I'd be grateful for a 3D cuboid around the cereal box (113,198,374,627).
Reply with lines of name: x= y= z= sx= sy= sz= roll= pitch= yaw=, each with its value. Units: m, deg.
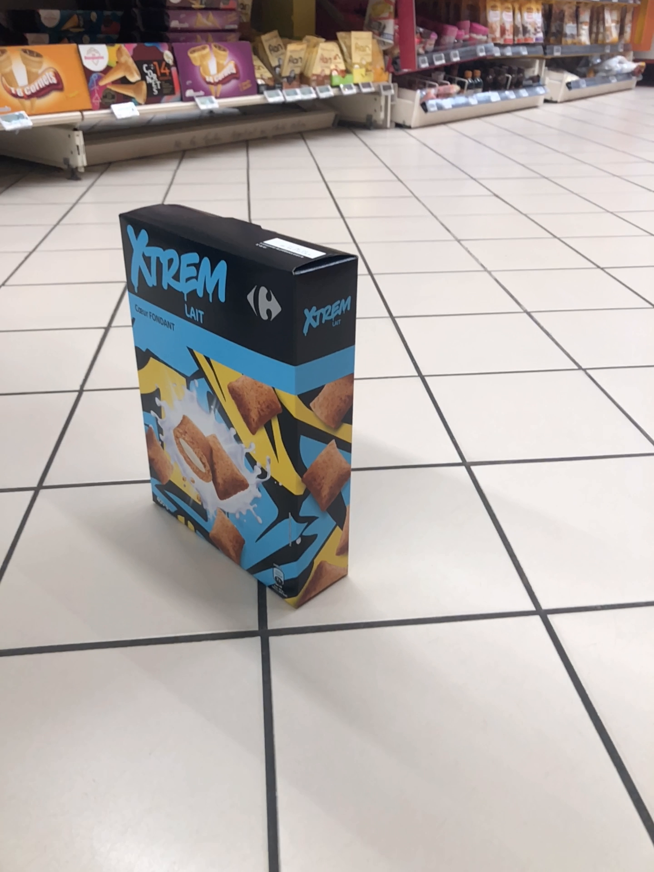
cereal box: x=-0.063 y=-0.023 z=0.531 sx=0.060 sy=0.259 sz=0.200 roll=-24 pitch=37 yaw=-37
